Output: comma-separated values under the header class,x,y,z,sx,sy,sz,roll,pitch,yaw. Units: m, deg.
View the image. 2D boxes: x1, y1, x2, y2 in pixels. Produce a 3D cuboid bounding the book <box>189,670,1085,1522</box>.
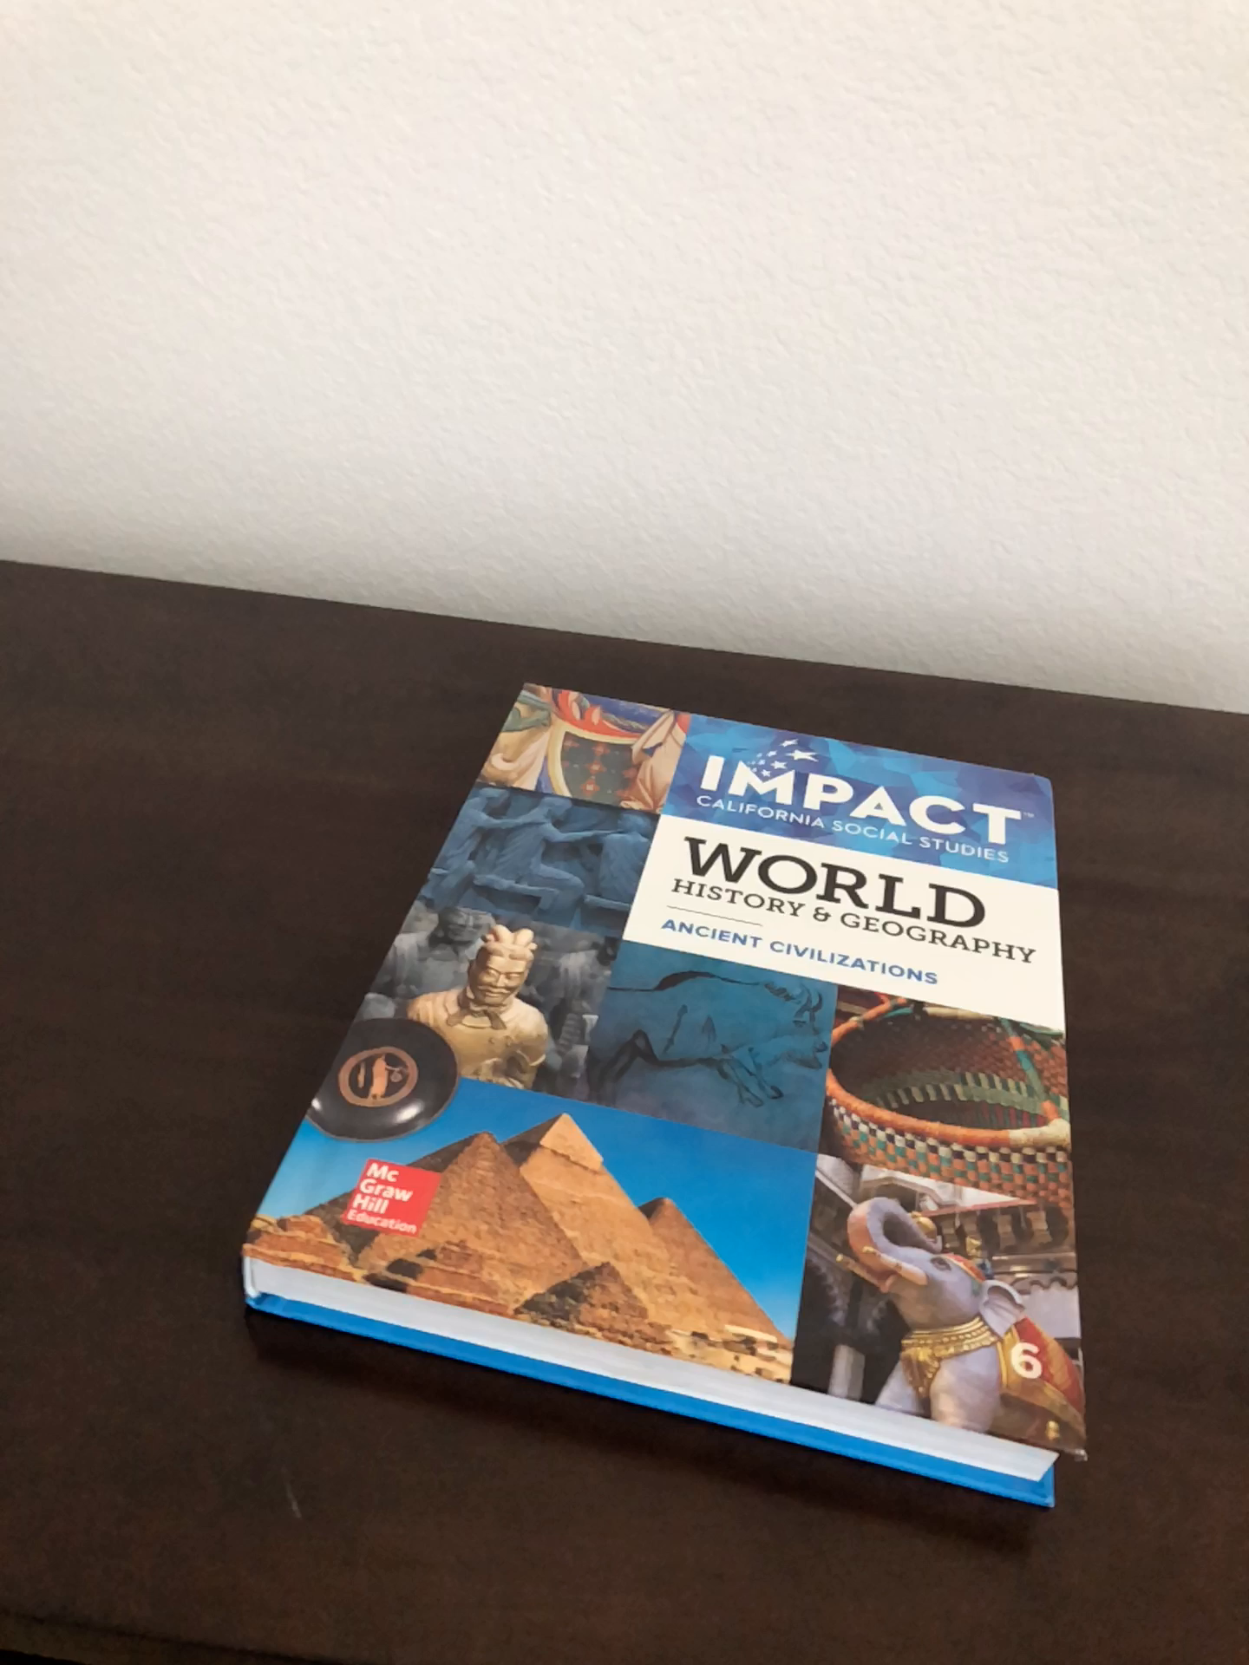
class,x,y,z,sx,sy,sz,roll,pitch,yaw
book,0.028,0.053,0.460,0.227,0.030,0.286,11,39,7
